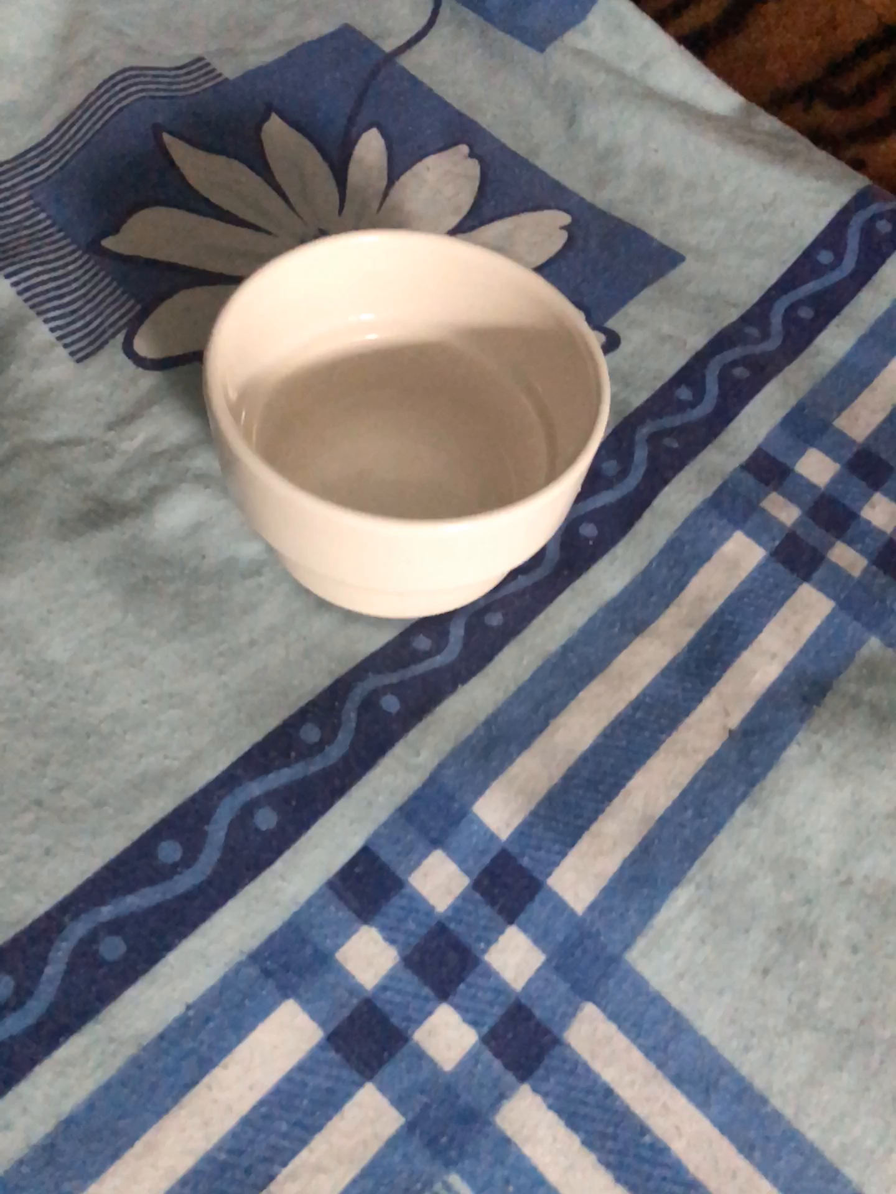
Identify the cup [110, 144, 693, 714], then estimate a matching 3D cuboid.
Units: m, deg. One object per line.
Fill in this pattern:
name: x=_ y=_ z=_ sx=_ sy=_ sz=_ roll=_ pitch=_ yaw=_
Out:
cup: x=-0.012 y=-0.039 z=0.218 sx=0.077 sy=0.047 sz=0.091 roll=-31 pitch=70 yaw=-20
